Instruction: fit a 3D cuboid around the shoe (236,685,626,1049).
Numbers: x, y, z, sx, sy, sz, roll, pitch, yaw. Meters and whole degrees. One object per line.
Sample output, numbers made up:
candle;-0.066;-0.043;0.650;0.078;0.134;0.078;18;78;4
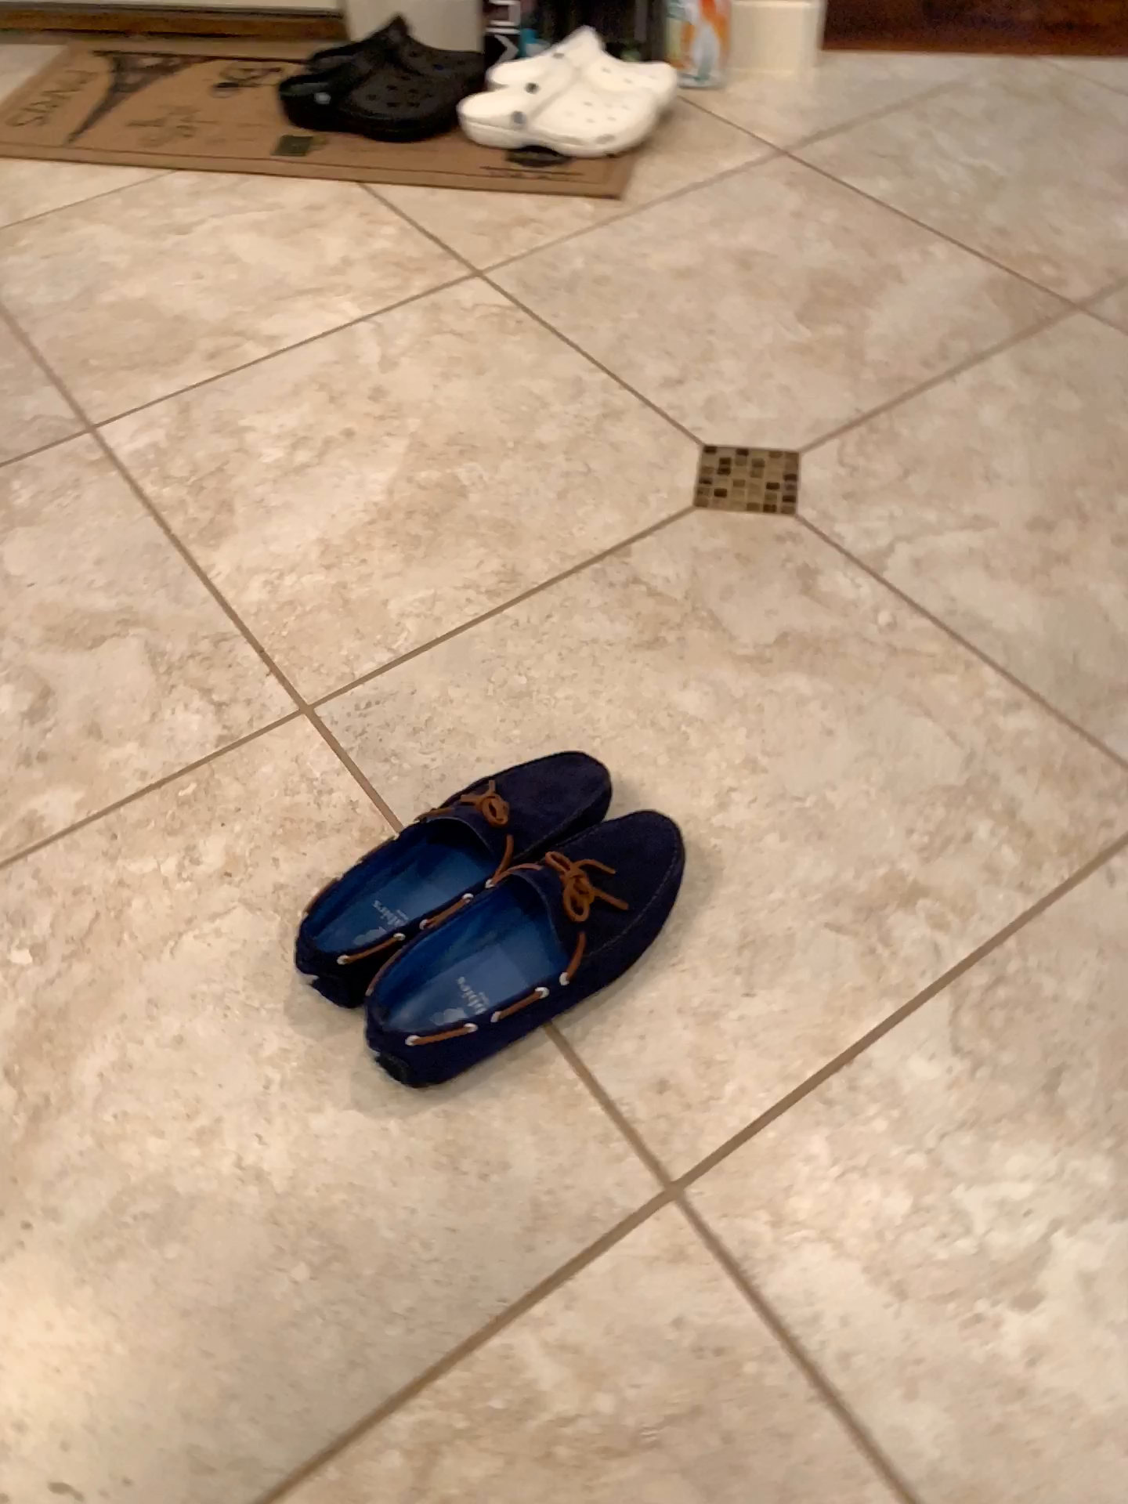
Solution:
shoe;-0.088;0.076;0.853;0.281;0.074;0.099;-38;59;-25

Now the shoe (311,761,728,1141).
shoe;-0.024;0.131;0.809;0.281;0.074;0.099;-34;57;-23
